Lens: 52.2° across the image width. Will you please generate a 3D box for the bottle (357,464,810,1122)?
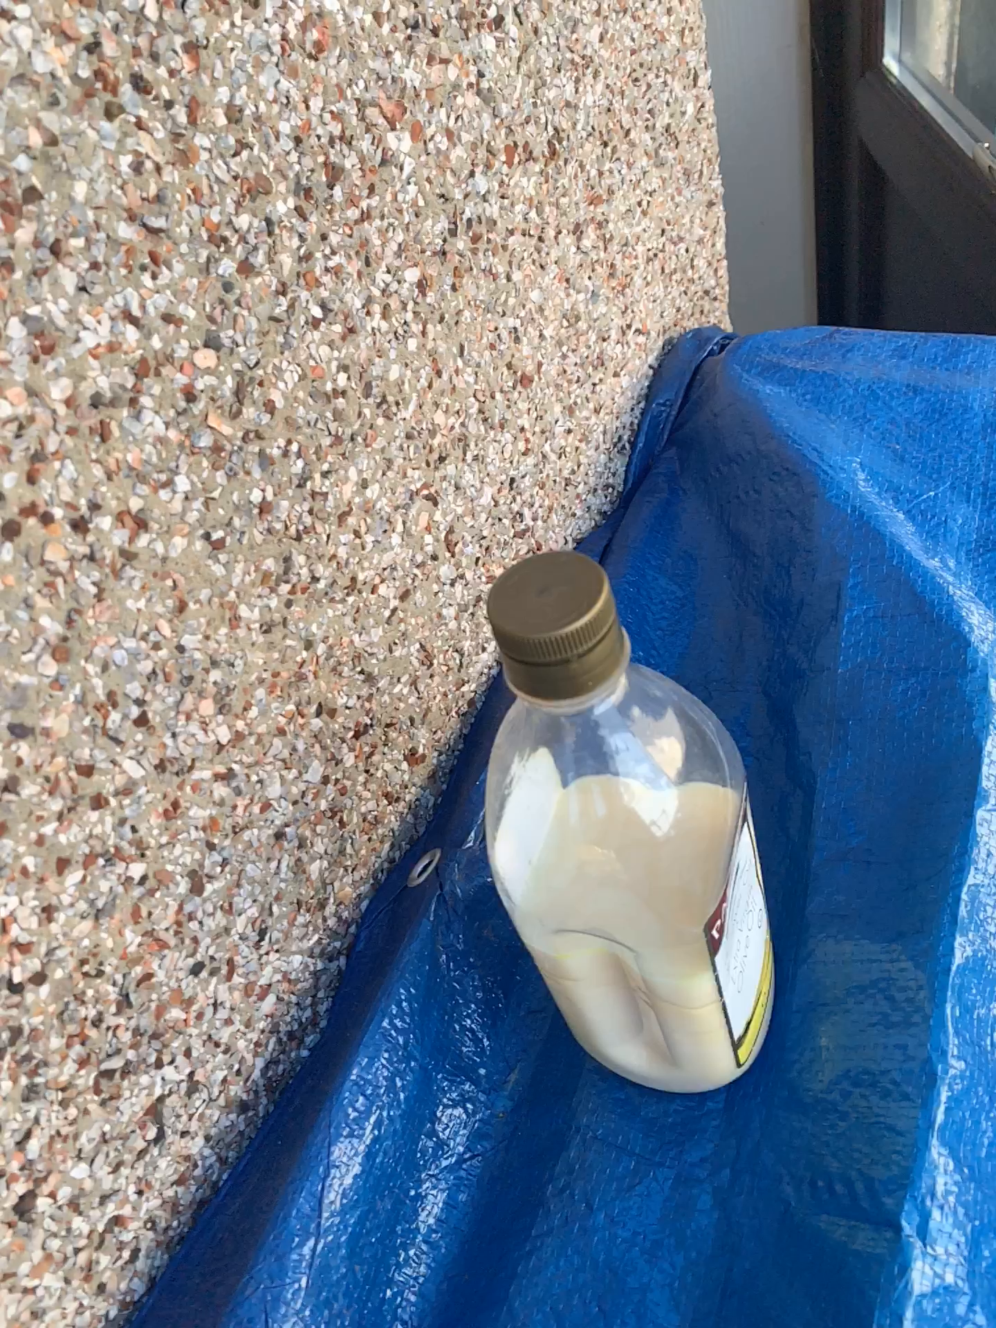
[{"bbox_3d":[0.048,0.057,0.328,0.080,0.238,0.081,-9,48,11],"label":"bottle"}]
